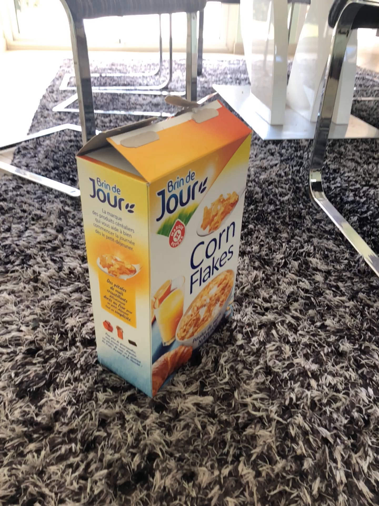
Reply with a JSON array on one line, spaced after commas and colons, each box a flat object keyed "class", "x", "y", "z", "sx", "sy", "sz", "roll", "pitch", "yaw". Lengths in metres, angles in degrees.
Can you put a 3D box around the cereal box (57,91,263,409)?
[{"class": "cereal box", "x": -0.022, "y": -0.009, "z": 0.495, "sx": 0.100, "sy": 0.308, "sz": 0.201, "roll": 22, "pitch": 37, "yaw": 29}]
